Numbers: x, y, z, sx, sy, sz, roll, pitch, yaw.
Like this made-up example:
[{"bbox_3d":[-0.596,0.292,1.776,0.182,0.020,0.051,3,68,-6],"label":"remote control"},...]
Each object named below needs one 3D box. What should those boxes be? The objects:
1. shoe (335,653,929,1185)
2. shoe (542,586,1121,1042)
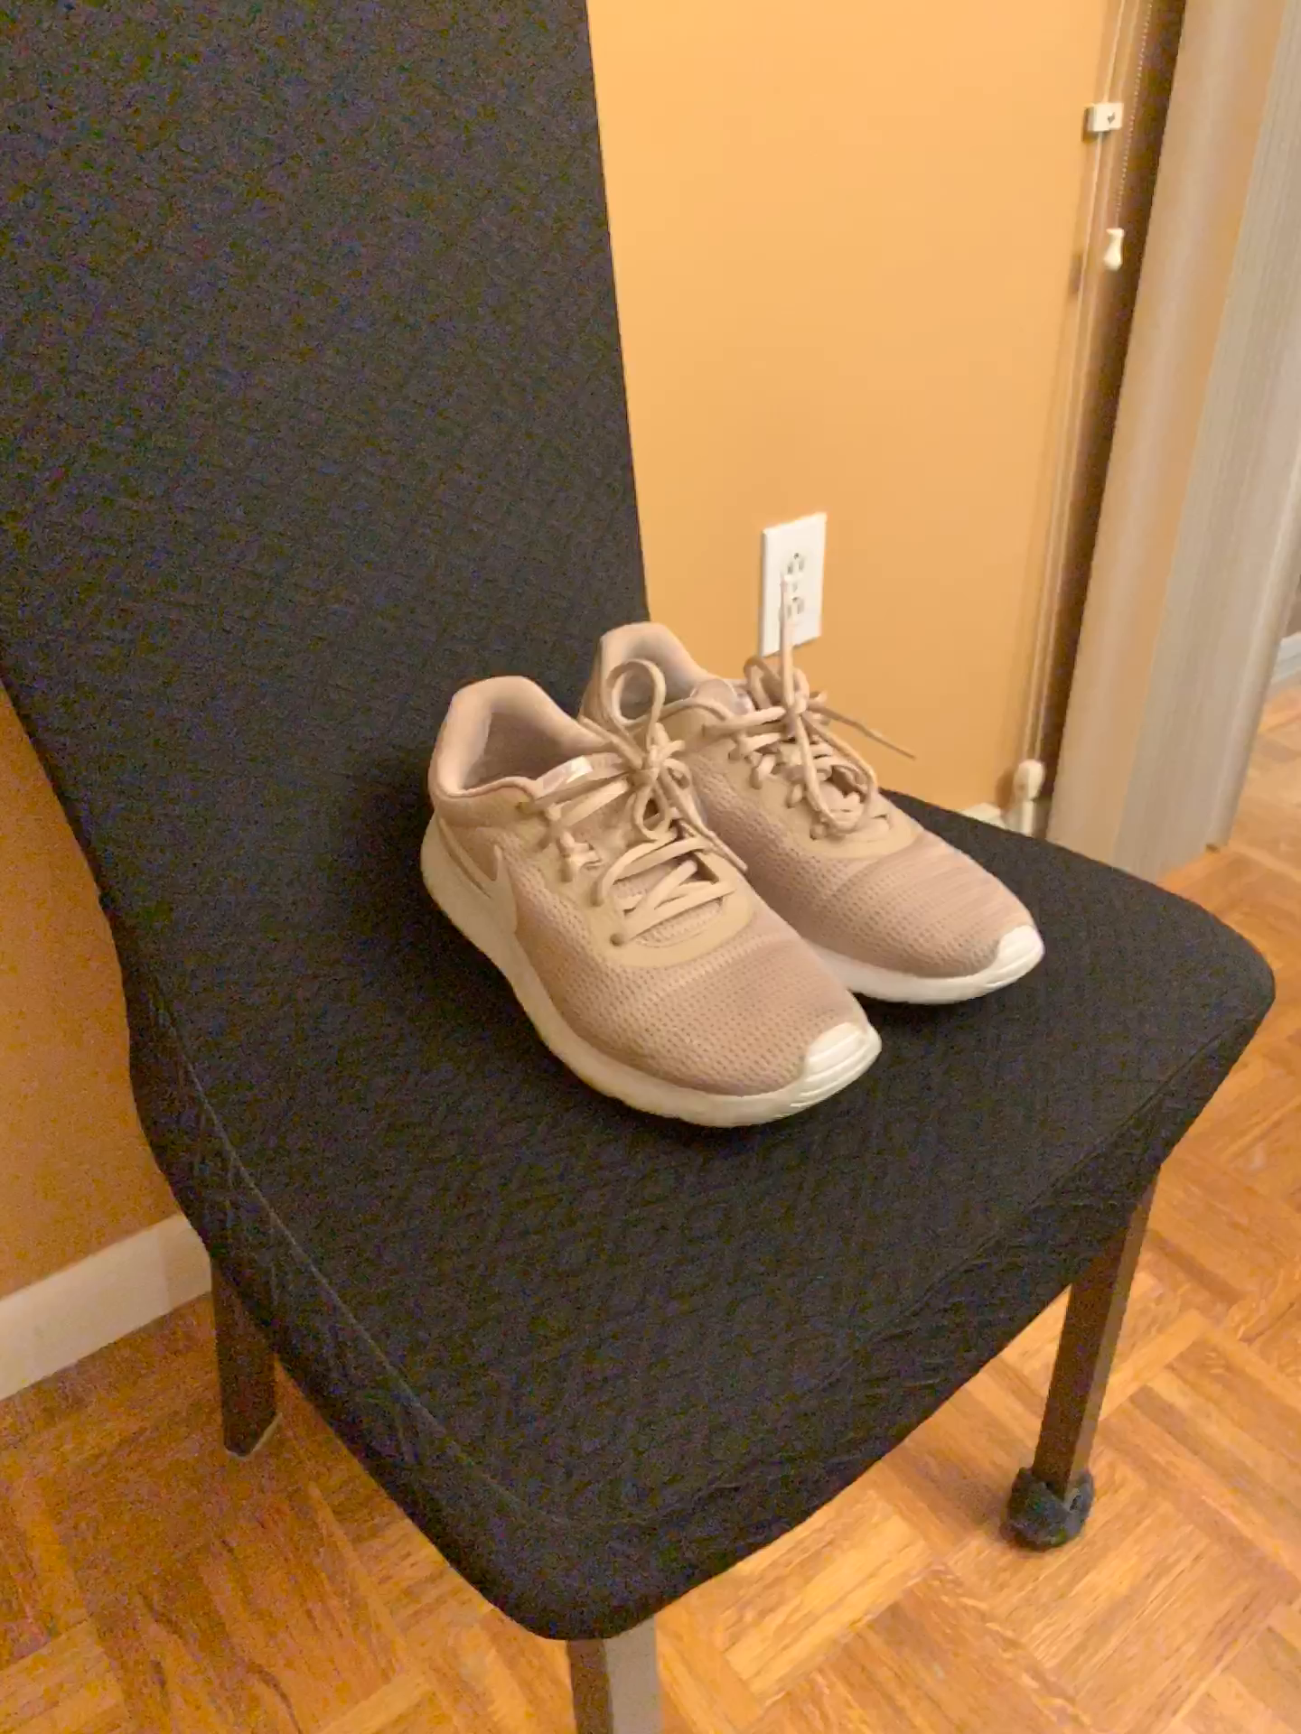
[{"bbox_3d":[-0.021,0.004,0.590,0.110,0.089,0.271,-23,39,-31],"label":"shoe"},{"bbox_3d":[0.070,-0.041,0.631,0.110,0.089,0.261,-23,39,-31],"label":"shoe"}]
